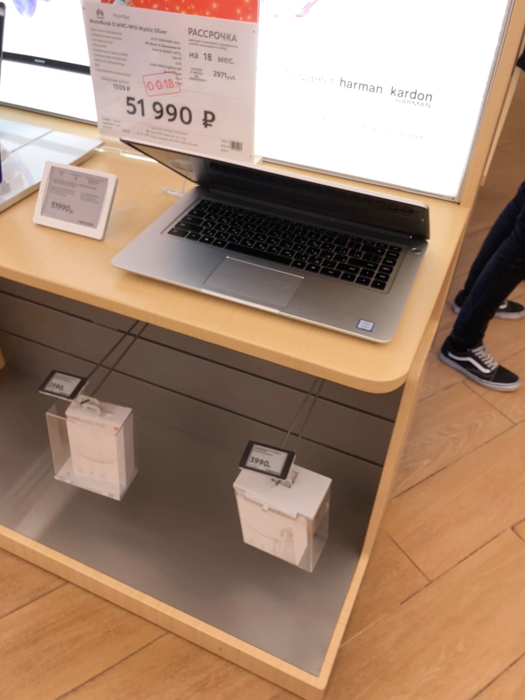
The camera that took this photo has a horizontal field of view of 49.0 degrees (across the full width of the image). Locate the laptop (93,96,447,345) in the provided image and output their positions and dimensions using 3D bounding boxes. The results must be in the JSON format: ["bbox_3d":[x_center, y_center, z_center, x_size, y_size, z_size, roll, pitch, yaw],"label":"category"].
[{"bbox_3d":[0.016,-0.175,0.694,0.343,0.135,0.231,17,43,16],"label":"laptop"}]
